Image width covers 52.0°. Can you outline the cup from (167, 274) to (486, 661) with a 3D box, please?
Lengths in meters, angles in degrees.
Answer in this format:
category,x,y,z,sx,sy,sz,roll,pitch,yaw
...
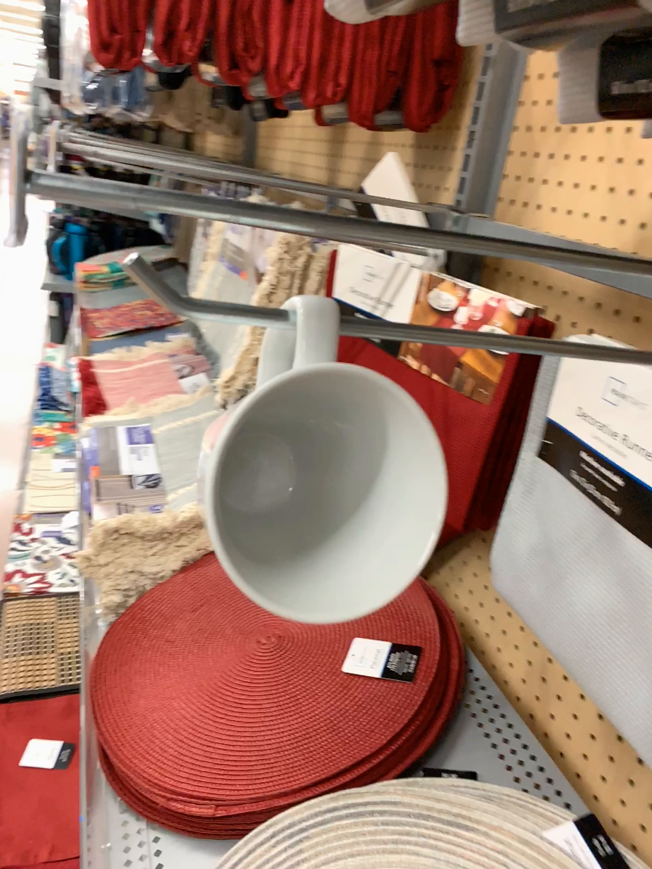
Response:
category,x,y,z,sx,sy,sz,roll,pitch,yaw
cup,-0.014,0.000,0.283,0.090,0.120,0.140,-1,10,-19
